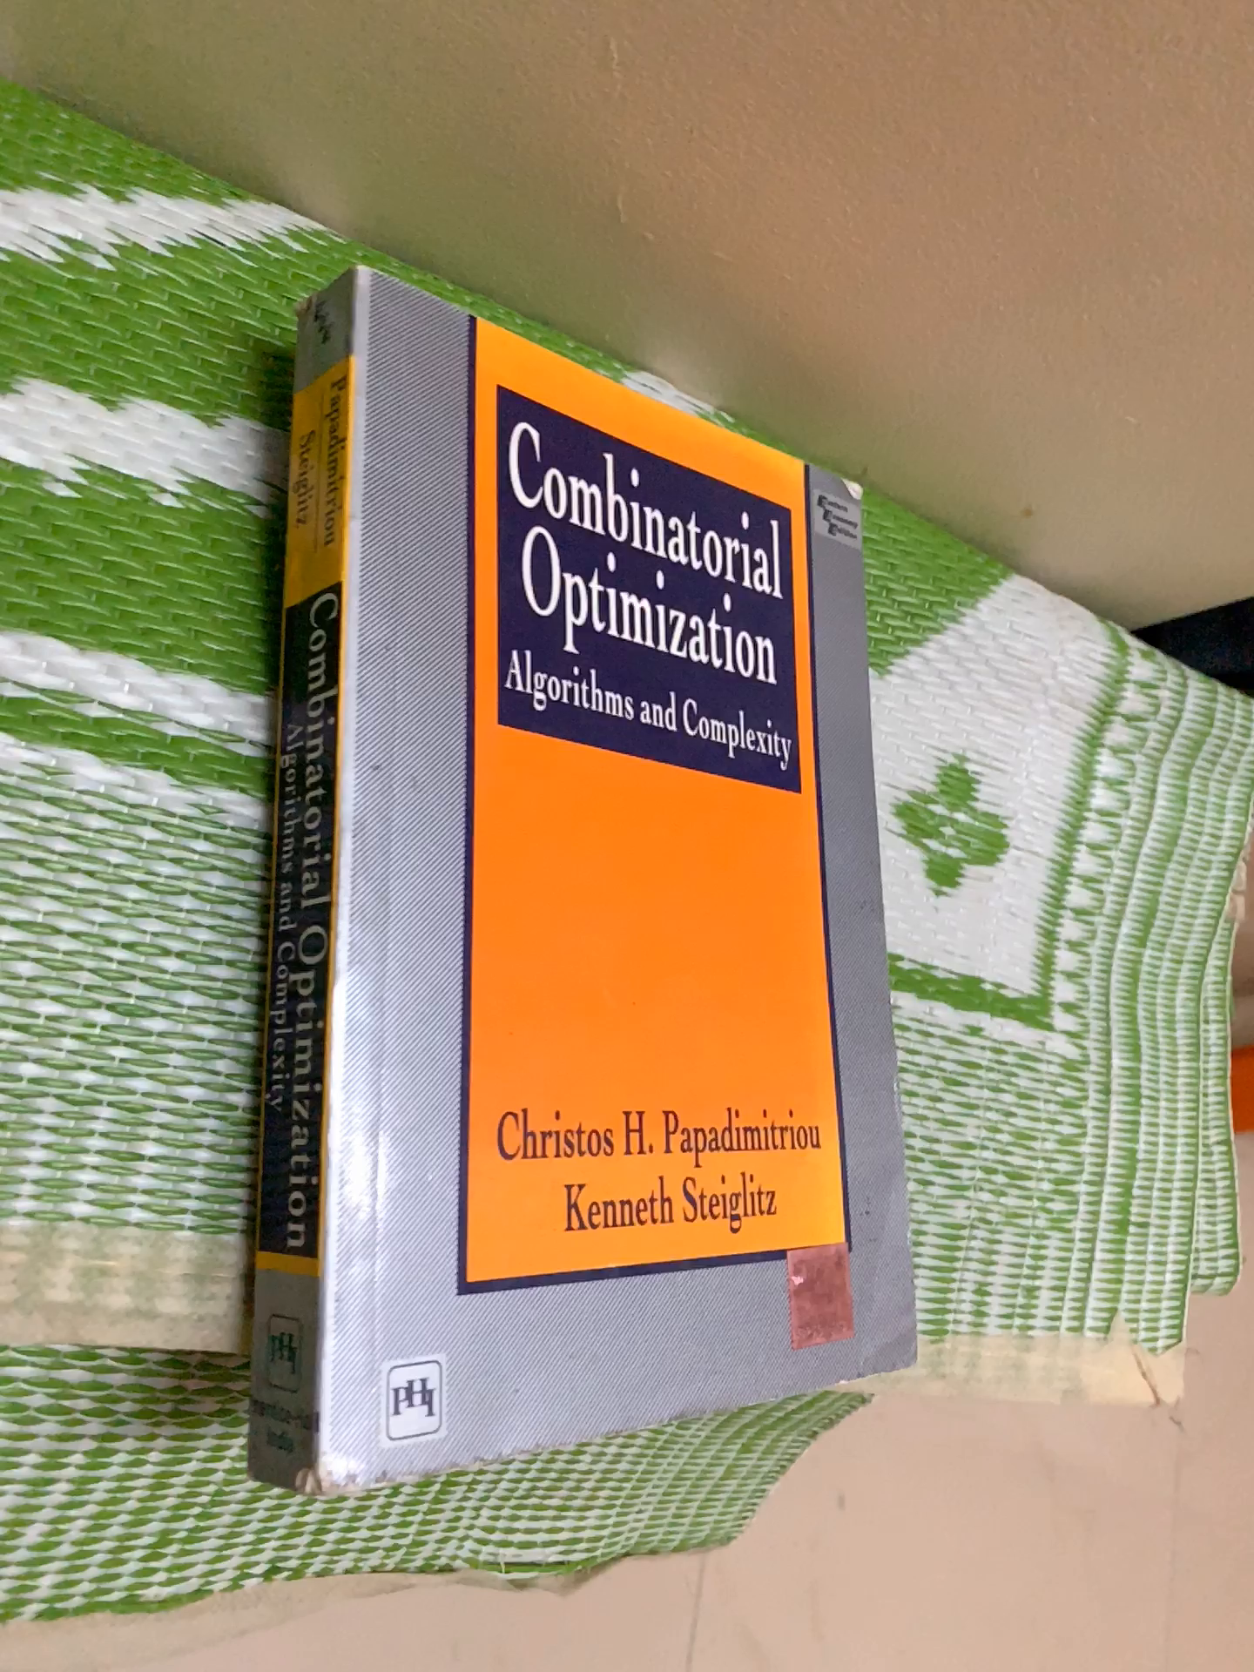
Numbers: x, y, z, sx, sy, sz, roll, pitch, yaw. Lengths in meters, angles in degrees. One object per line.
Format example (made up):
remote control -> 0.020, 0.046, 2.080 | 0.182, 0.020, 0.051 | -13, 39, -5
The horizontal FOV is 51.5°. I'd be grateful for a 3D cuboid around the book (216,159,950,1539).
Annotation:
book -> -0.005, -0.001, 0.315 | 0.171, 0.040, 0.270 | 11, 69, -41
